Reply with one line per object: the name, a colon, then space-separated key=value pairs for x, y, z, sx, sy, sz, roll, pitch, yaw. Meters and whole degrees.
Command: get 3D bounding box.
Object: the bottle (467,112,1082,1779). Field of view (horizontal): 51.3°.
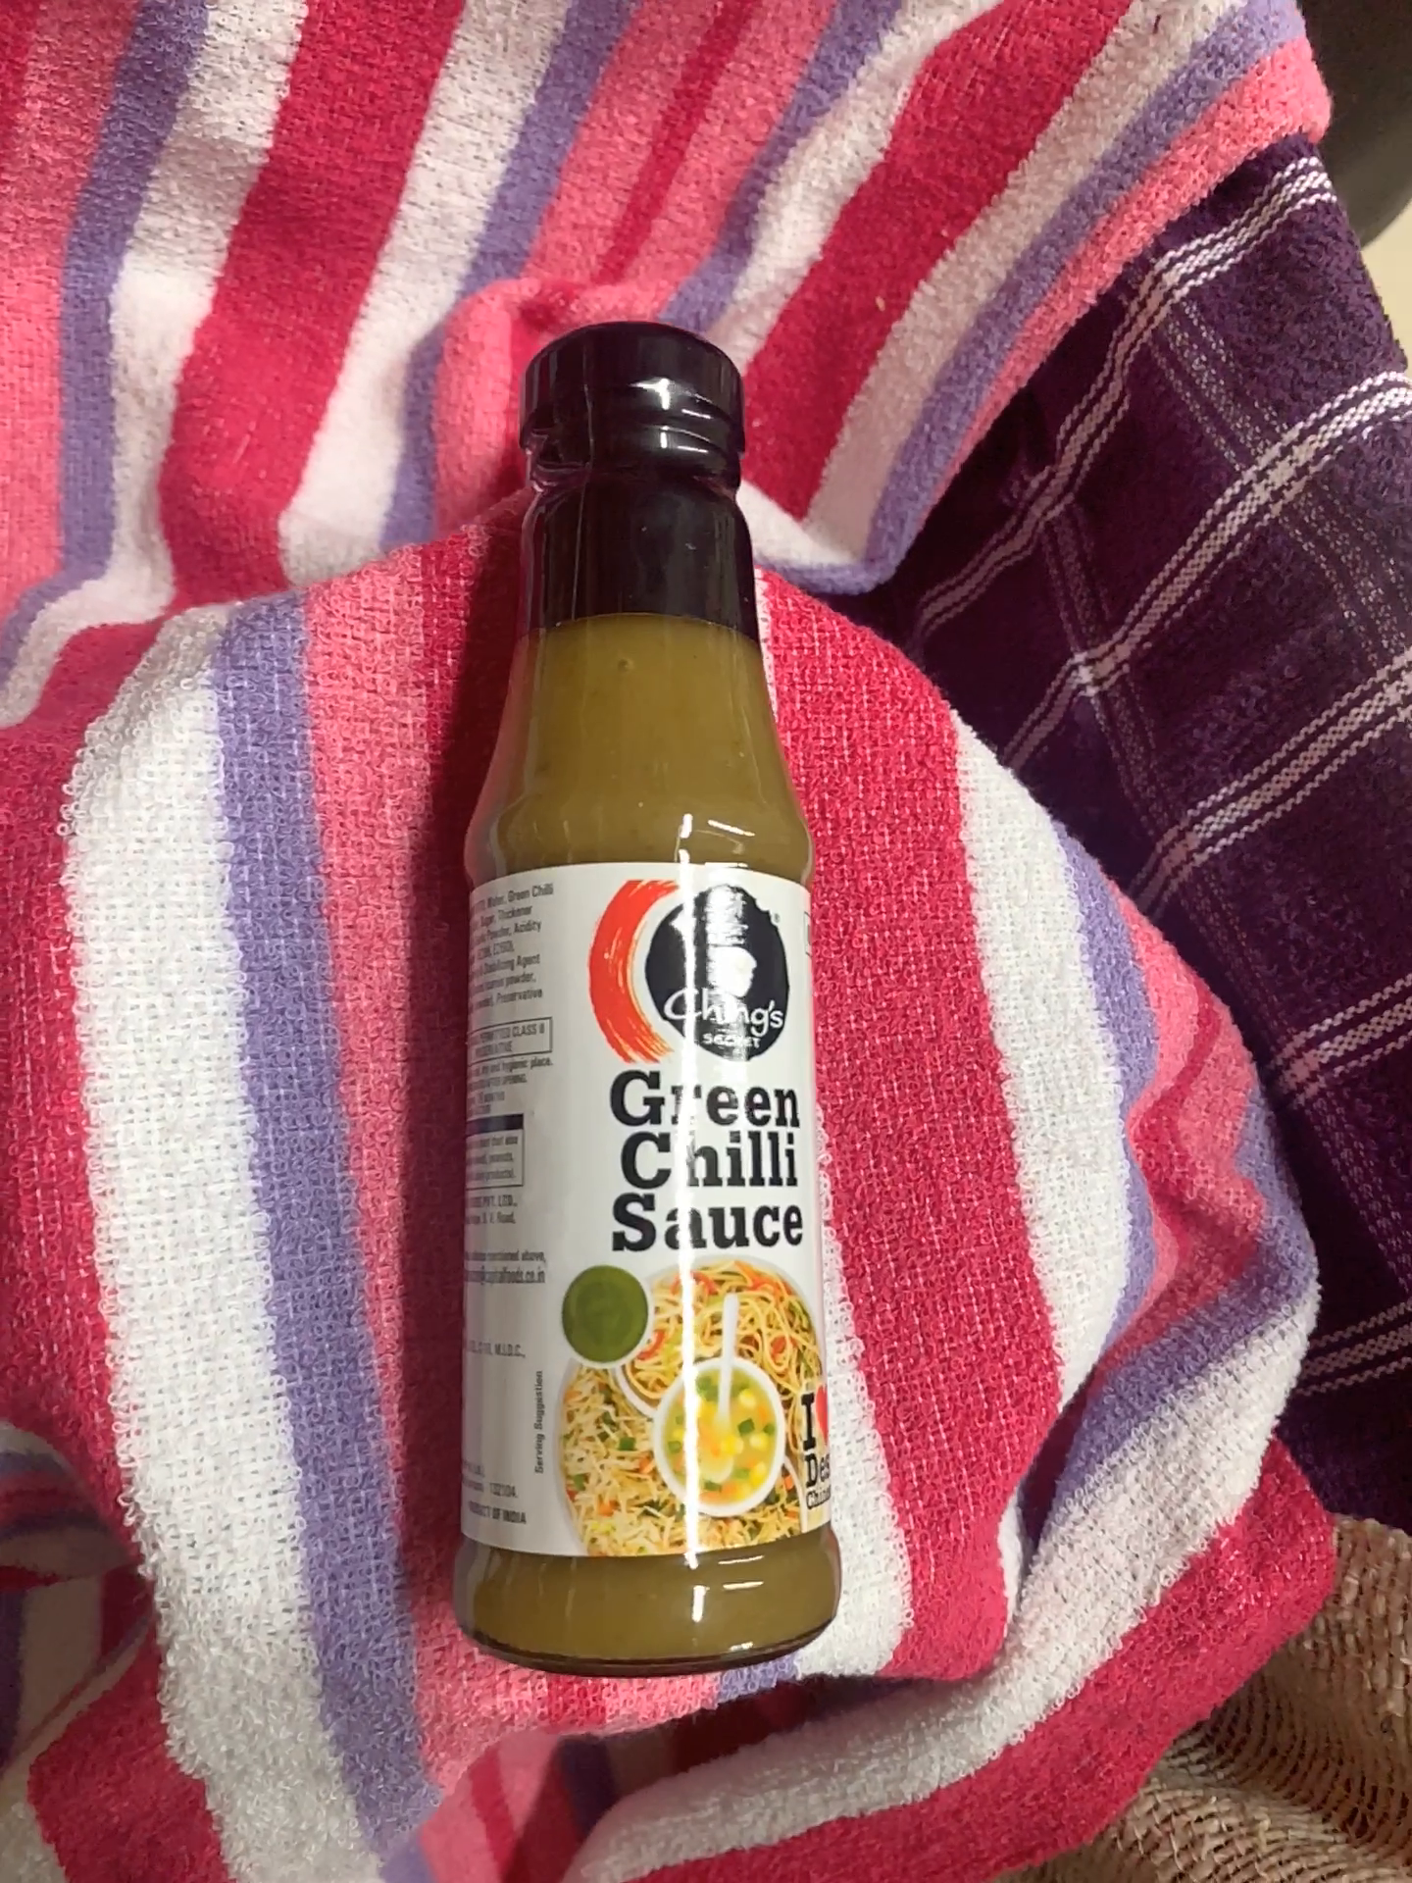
bottle: x=0.002 y=-0.003 z=0.179 sx=0.050 sy=0.050 sz=0.170 roll=2 pitch=78 yaw=-23
